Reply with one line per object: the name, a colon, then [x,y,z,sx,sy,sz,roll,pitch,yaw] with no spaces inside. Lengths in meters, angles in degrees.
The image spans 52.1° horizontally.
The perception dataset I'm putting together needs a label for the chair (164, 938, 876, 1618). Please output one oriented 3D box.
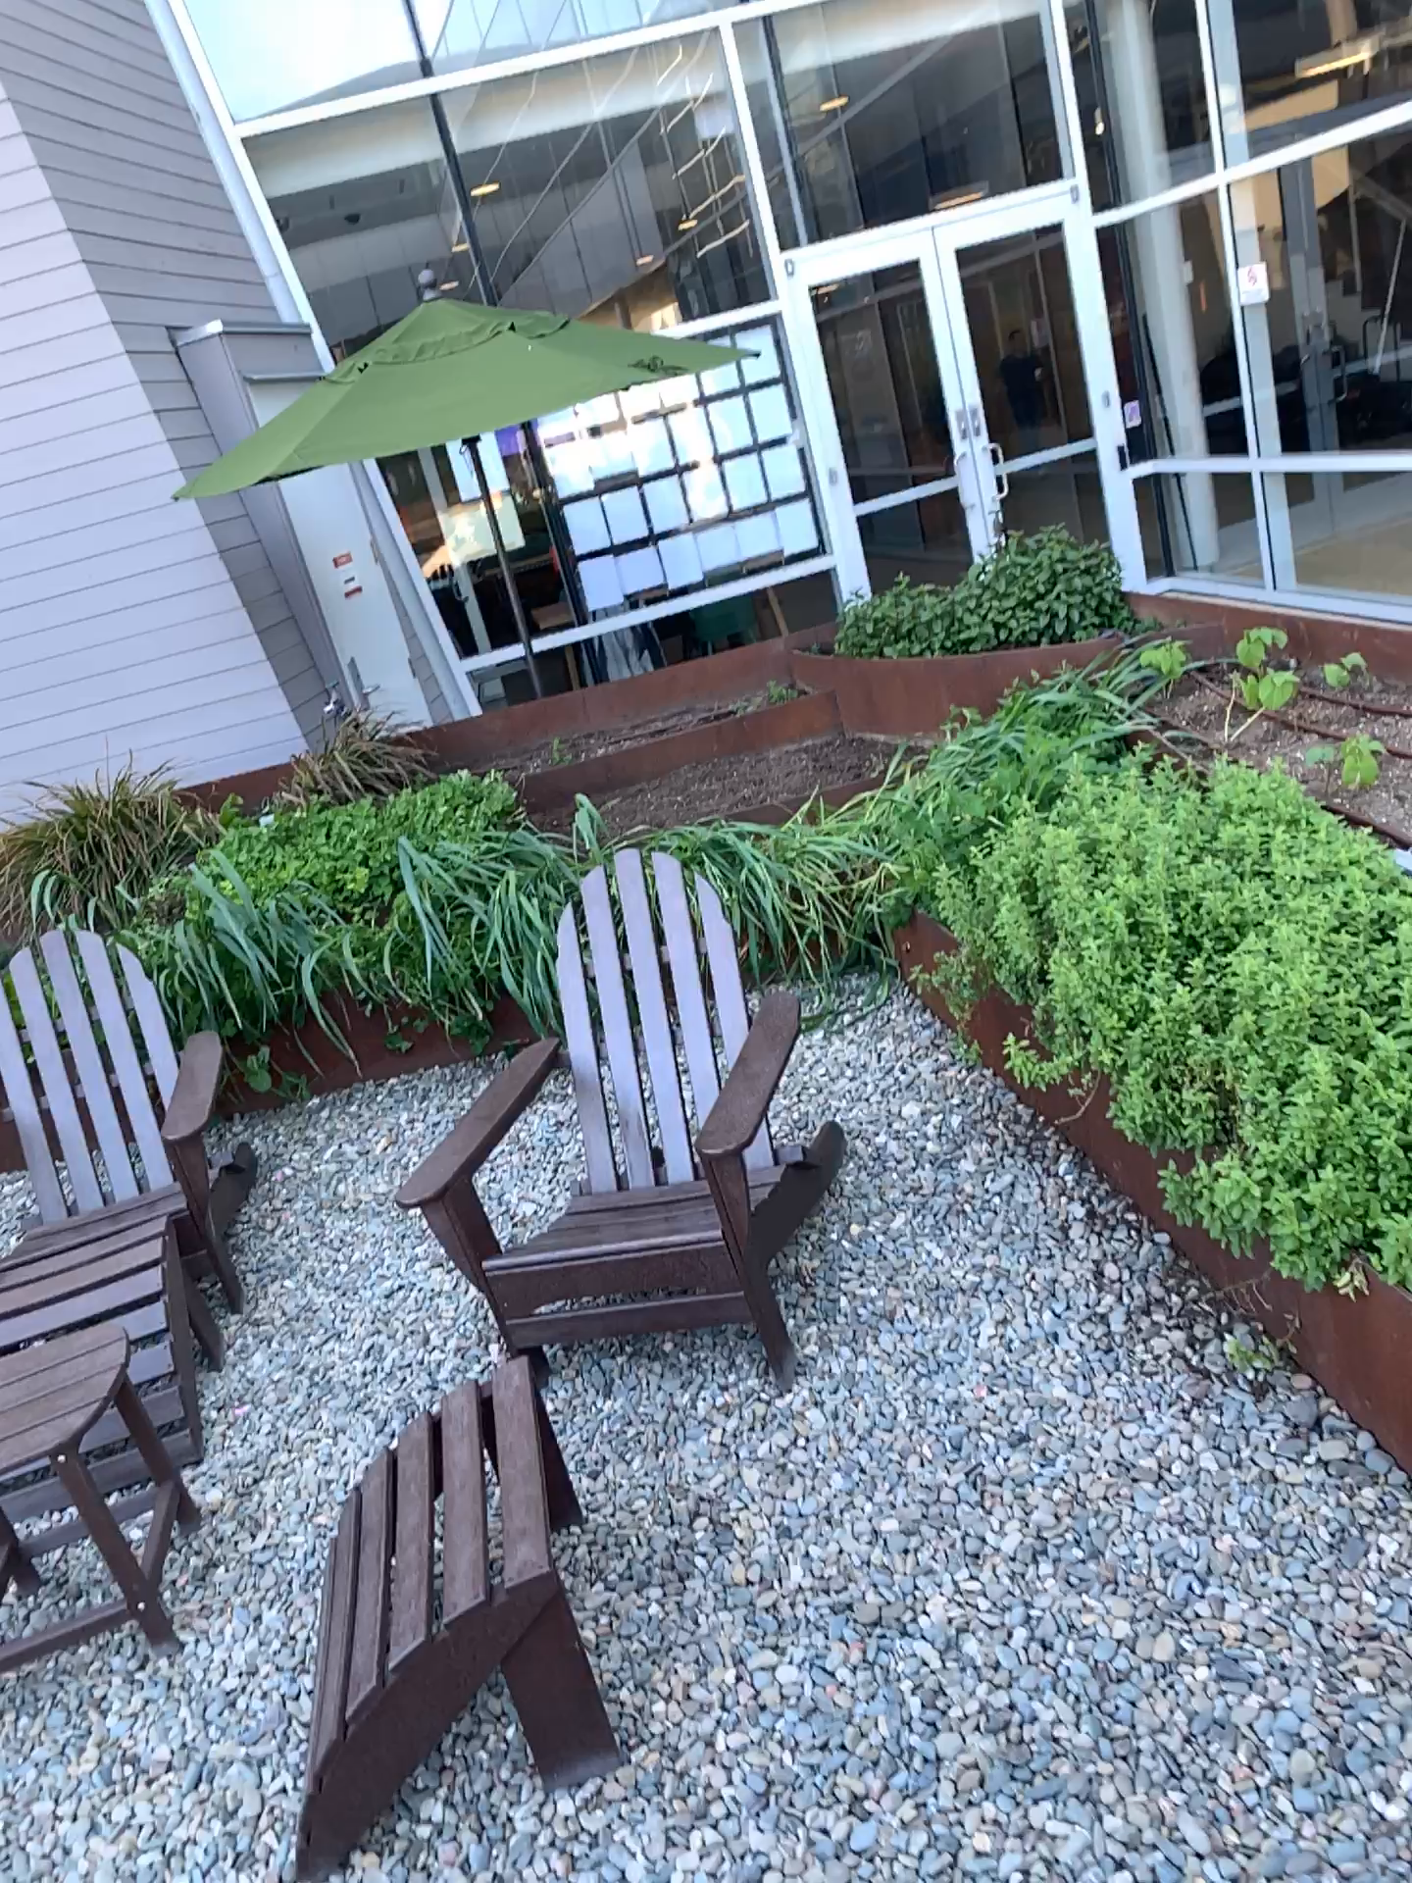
chair: [-0.347,0.678,3.300,1.002,0.996,1.003,-3,23,30]
